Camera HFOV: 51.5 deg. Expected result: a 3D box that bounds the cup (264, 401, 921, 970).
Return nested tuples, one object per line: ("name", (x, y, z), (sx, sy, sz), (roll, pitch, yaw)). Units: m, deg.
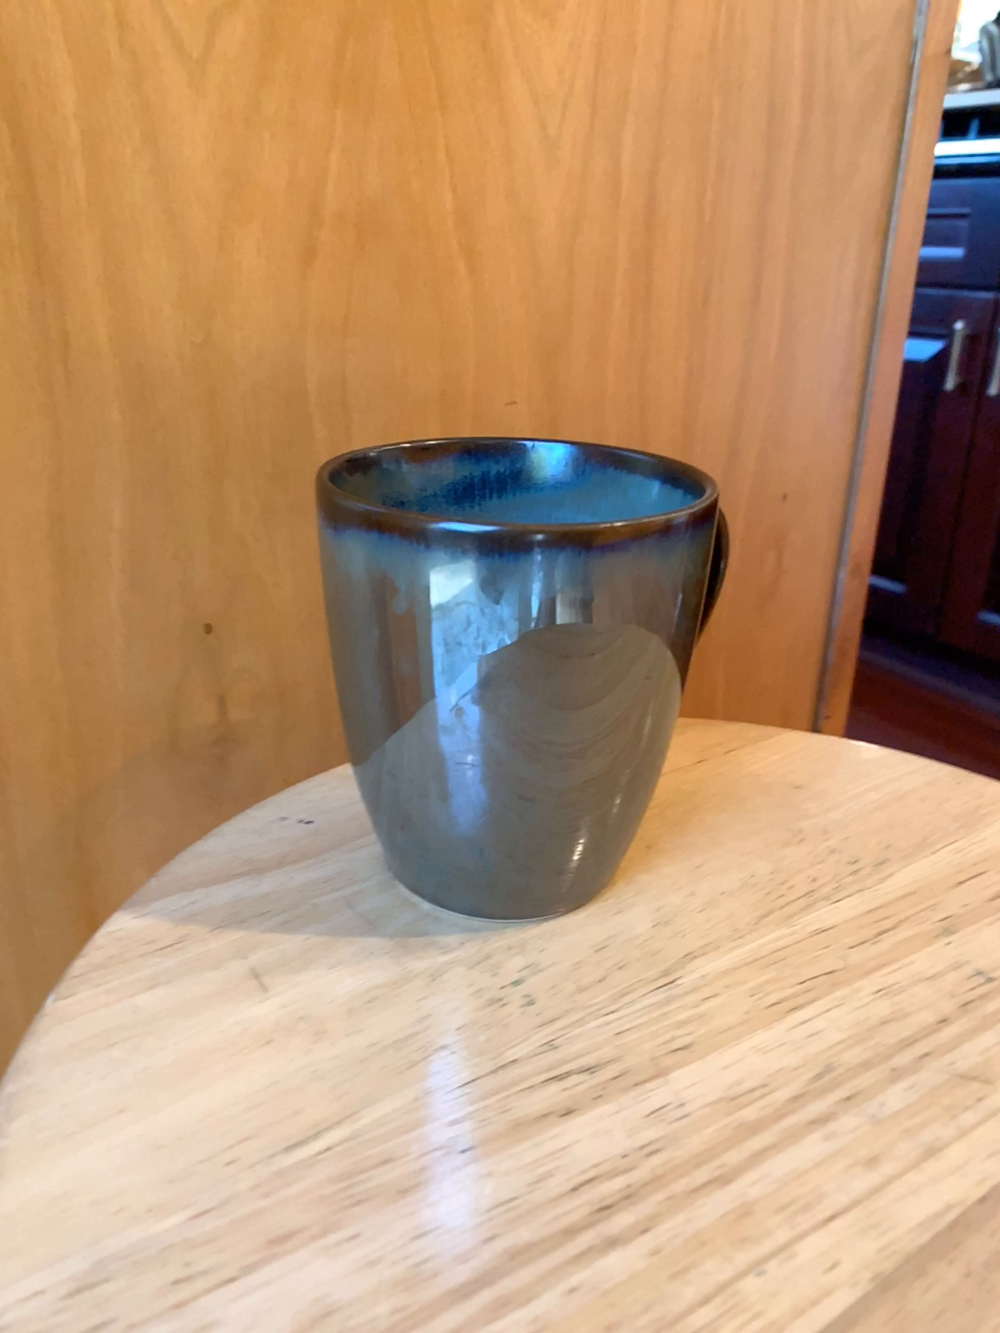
("cup", (0.019, -0.008, 0.244), (0.120, 0.090, 0.080), (-13, 26, -31))
